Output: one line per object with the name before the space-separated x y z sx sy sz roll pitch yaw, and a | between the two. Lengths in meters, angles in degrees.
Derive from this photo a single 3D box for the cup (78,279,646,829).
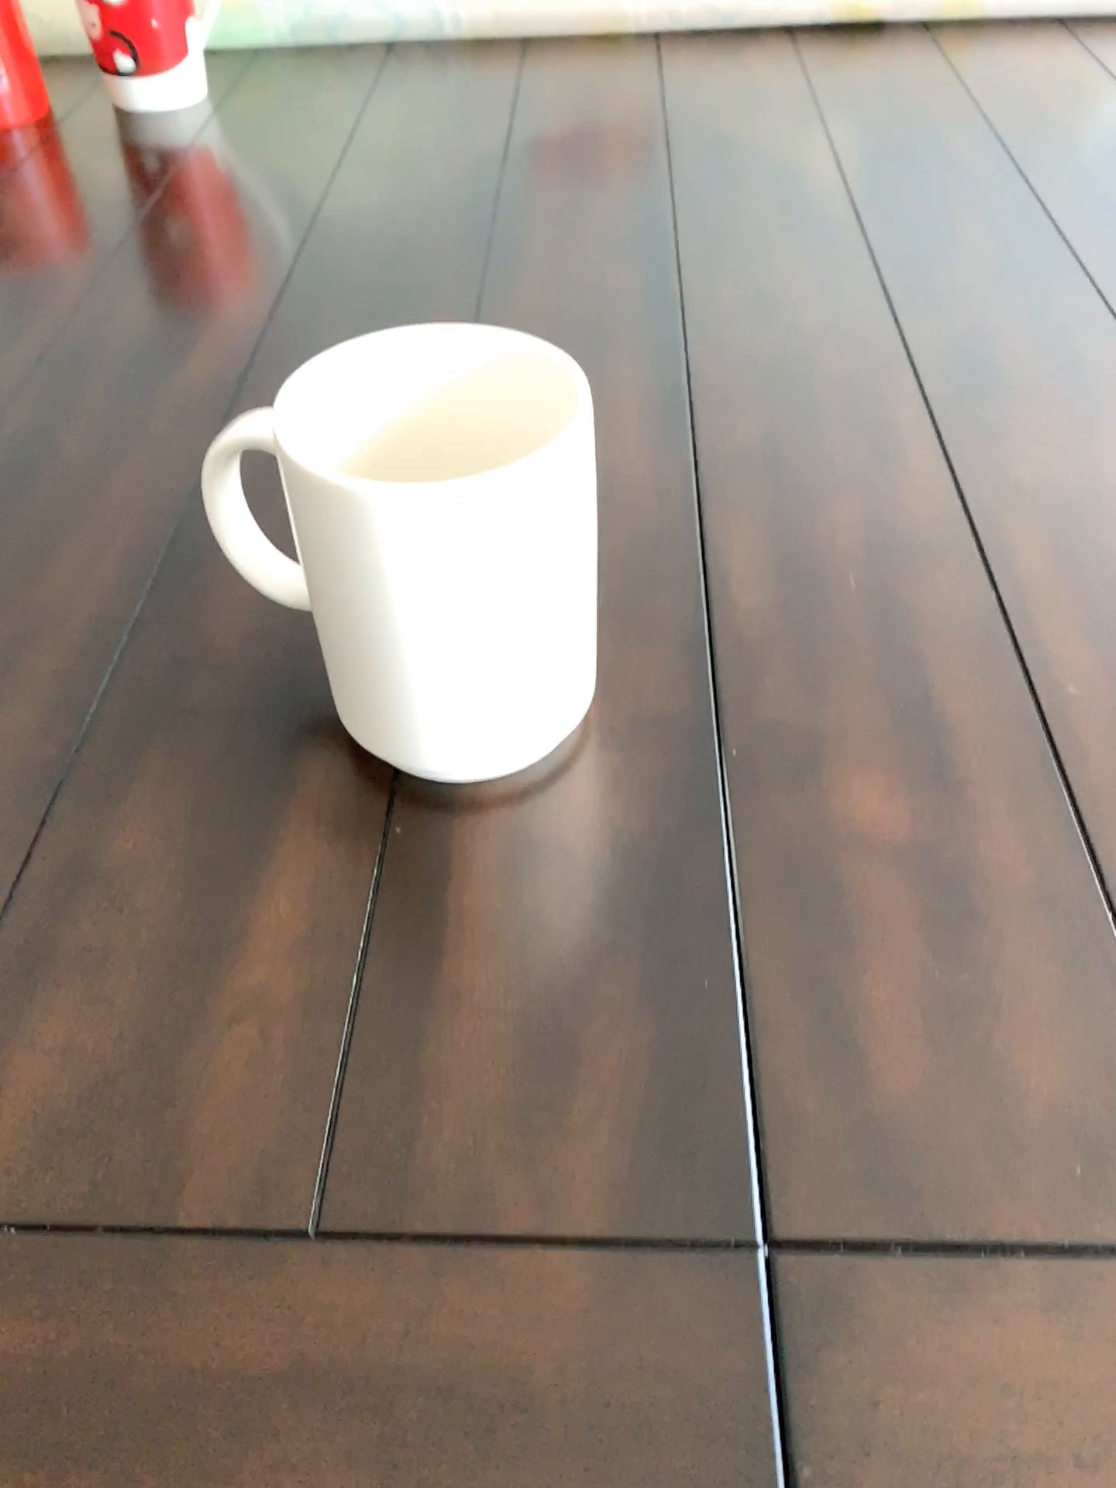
cup | -0.051 -0.060 0.349 0.130 0.110 0.080 20 49 21
